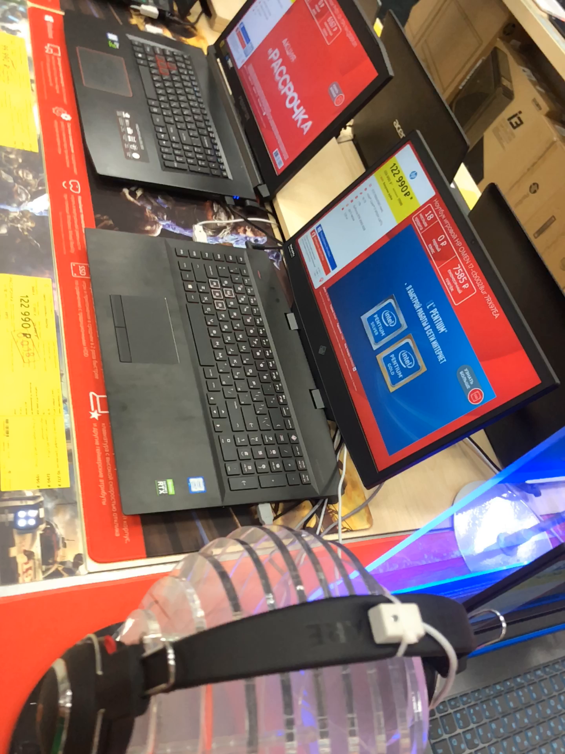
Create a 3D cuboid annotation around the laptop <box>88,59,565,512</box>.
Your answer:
[{"bbox_3d":[0.015,-0.092,0.711,0.376,0.247,0.392,2,54,-29],"label":"laptop"}]
